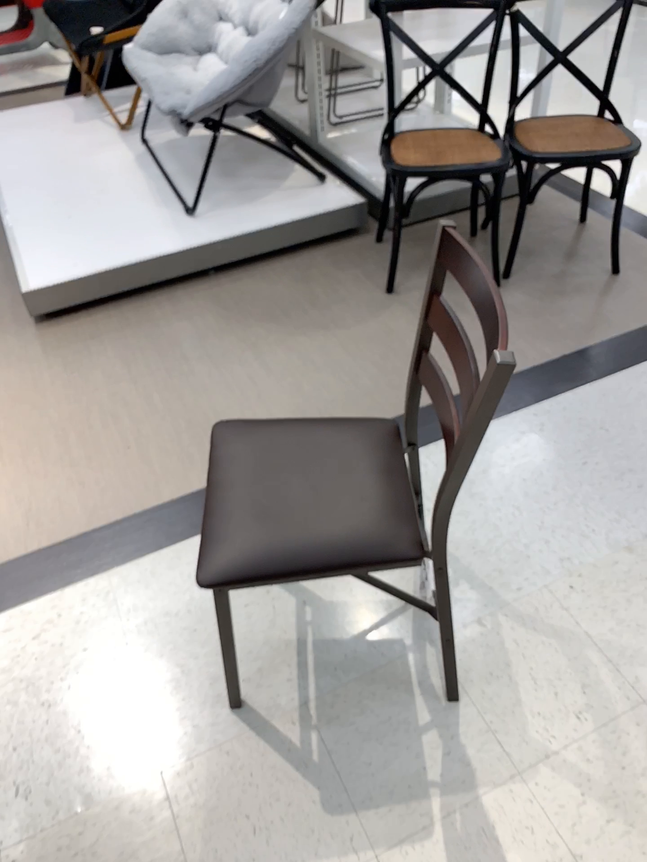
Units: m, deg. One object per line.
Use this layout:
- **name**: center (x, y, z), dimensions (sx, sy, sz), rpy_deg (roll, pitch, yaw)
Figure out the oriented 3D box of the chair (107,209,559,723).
- **chair**: center (0.024, 0.109, 1.209), dimensions (0.520, 0.826, 0.442), rpy_deg (-4, 43, 0)
